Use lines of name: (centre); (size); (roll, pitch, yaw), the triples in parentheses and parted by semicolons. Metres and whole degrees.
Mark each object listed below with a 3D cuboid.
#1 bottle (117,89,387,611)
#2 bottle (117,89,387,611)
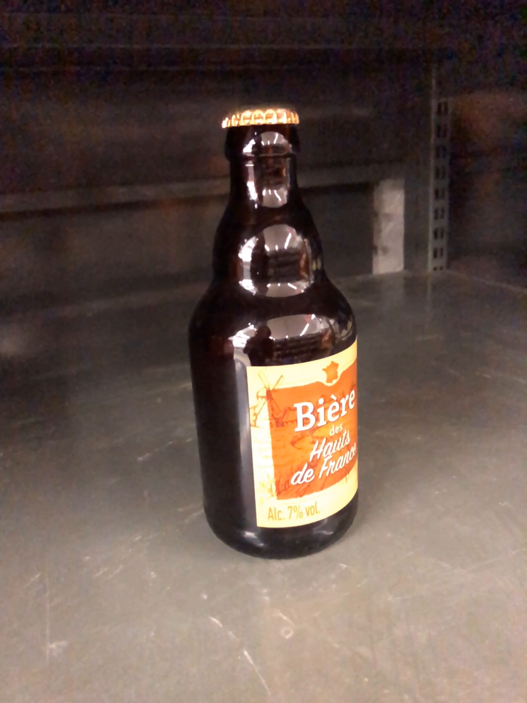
bottle: (-0.001, -0.004, 0.238); (0.070, 0.179, 0.070); (-4, 18, 1)
bottle: (-0.001, -0.004, 0.238); (0.070, 0.179, 0.070); (-4, 18, 1)
